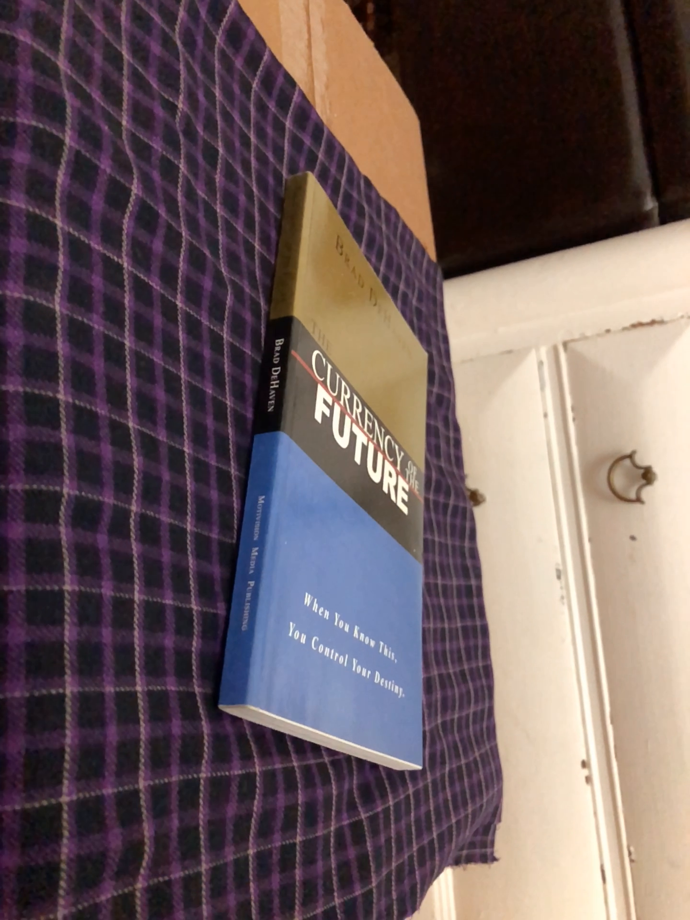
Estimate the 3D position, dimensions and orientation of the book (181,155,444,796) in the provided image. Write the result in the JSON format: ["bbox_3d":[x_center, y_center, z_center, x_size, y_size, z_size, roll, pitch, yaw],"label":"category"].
[{"bbox_3d":[0.005,0.011,0.316,0.150,0.020,0.220,46,41,-51],"label":"book"}]
